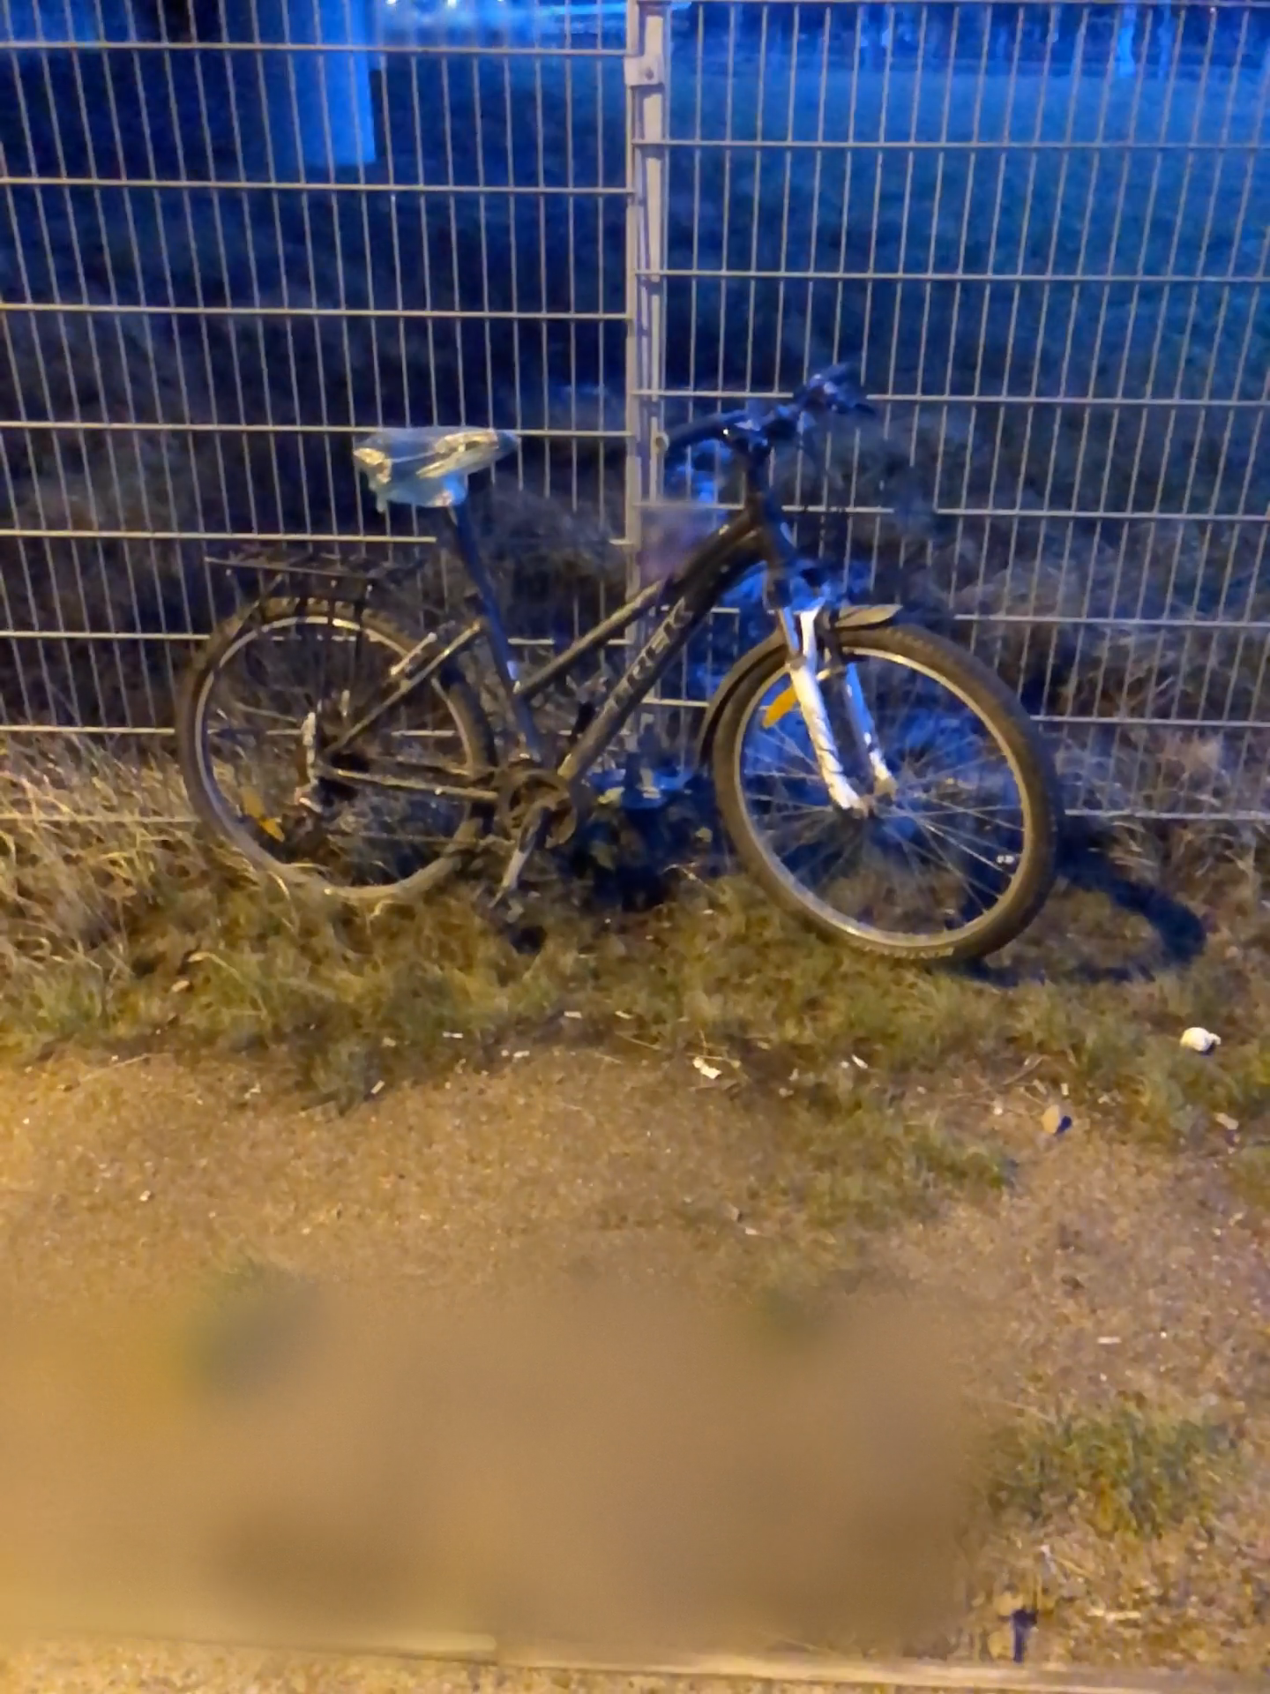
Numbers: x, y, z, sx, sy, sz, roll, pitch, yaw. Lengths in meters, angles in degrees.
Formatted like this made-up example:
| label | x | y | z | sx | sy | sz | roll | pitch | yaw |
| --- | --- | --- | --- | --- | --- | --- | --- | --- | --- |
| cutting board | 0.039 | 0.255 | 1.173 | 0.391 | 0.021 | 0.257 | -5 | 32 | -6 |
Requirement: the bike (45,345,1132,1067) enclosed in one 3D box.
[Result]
| label | x | y | z | sx | sy | sz | roll | pitch | yaw |
| --- | --- | --- | --- | --- | --- | --- | --- | --- | --- |
| bike | -0.092 | -0.305 | 2.373 | 1.584 | 0.946 | 0.573 | 7 | 30 | 16 |
